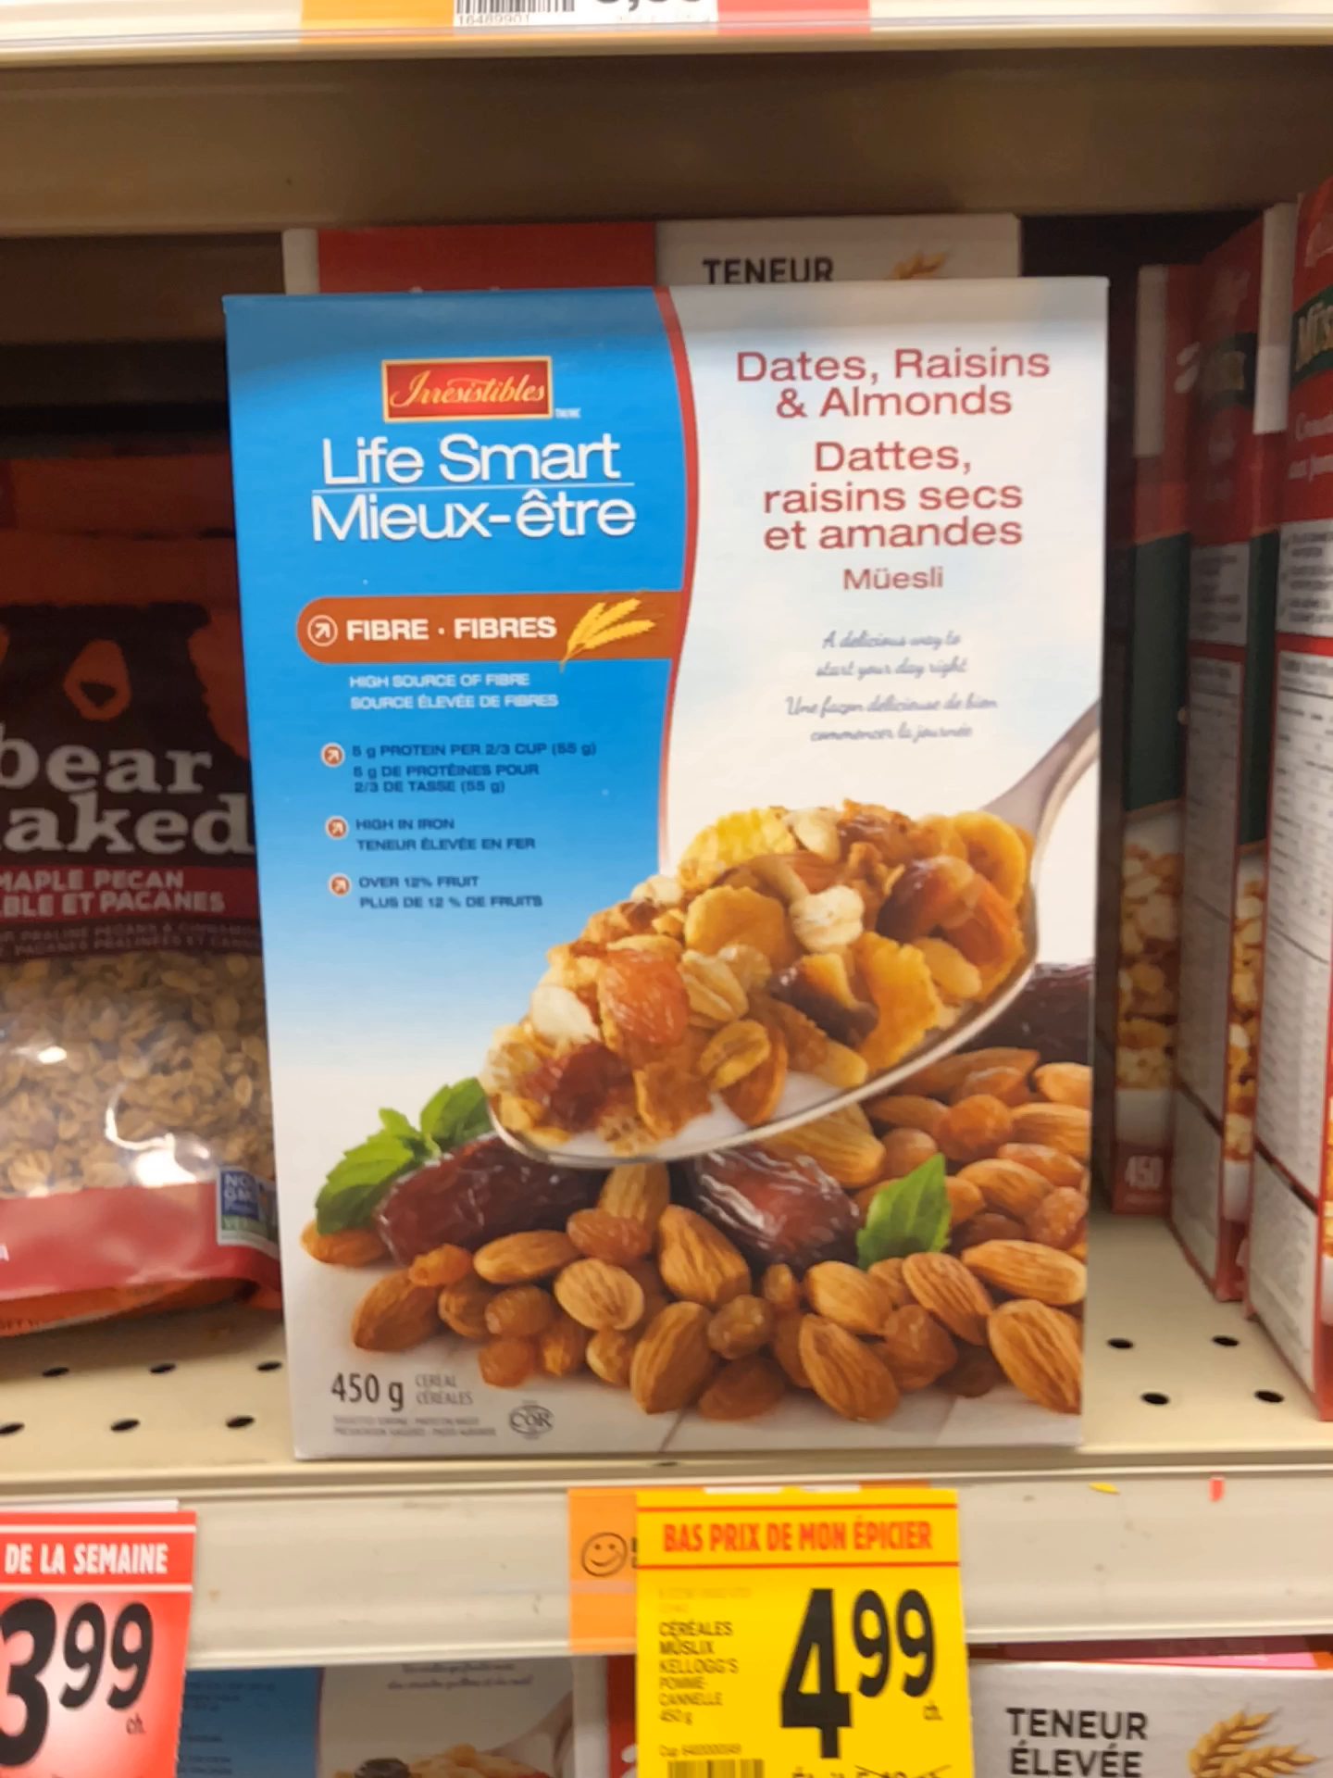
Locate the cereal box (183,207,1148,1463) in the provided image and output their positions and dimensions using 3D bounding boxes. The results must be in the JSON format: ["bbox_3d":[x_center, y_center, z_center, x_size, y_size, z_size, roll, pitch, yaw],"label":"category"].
[{"bbox_3d":[0.002,-0.005,0.309,0.170,0.239,0.050,-1,11,2],"label":"cereal box"}]
